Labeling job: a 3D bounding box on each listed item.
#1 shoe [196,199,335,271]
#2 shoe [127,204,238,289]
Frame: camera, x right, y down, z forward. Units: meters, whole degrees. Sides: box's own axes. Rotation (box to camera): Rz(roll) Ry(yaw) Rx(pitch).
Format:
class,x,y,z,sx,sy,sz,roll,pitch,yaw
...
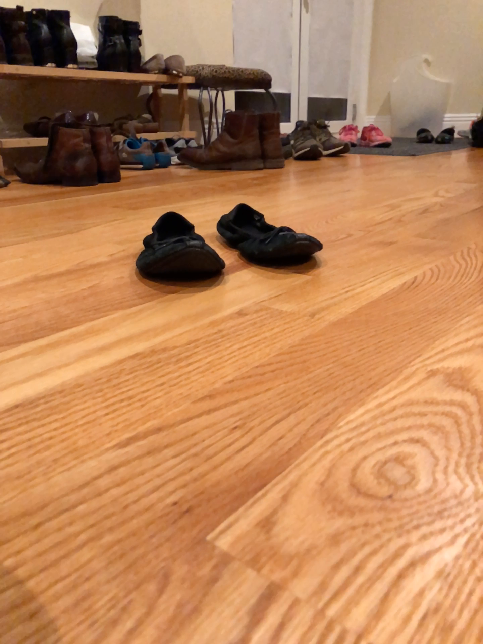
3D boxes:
class,x,y,z,sx,sy,sz,roll,pitch,yaw
shoe,0.022,-0.121,0.694,0.093,0.046,0.221,-9,22,-22
shoe,-0.080,-0.100,0.643,0.100,0.050,0.221,-6,21,-13
